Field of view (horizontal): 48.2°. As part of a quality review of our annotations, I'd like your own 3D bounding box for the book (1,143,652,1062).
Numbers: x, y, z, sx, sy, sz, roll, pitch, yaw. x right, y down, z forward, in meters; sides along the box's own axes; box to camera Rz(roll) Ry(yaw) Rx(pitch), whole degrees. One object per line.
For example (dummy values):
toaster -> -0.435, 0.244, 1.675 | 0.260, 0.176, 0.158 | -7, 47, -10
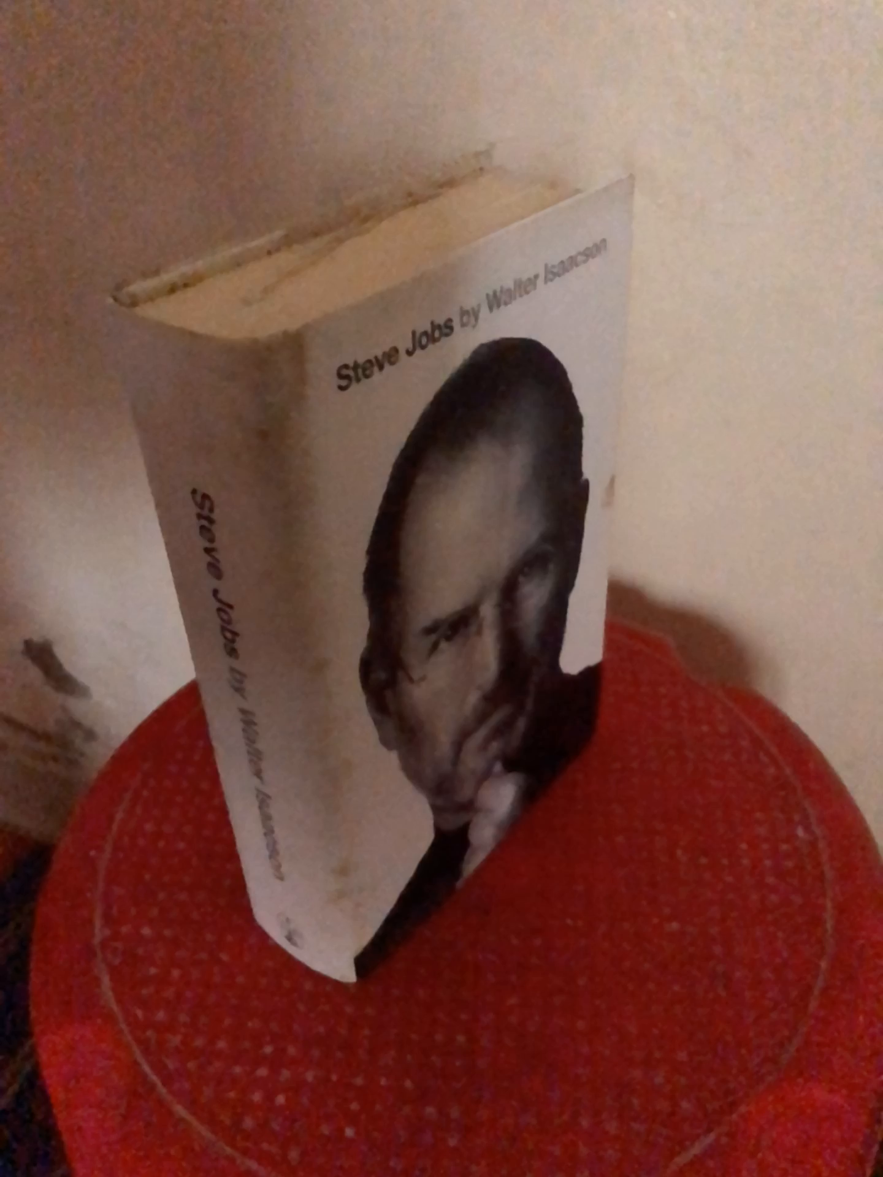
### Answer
book -> -0.011, 0.003, 0.310 | 0.060, 0.229, 0.171 | 22, 43, 31
